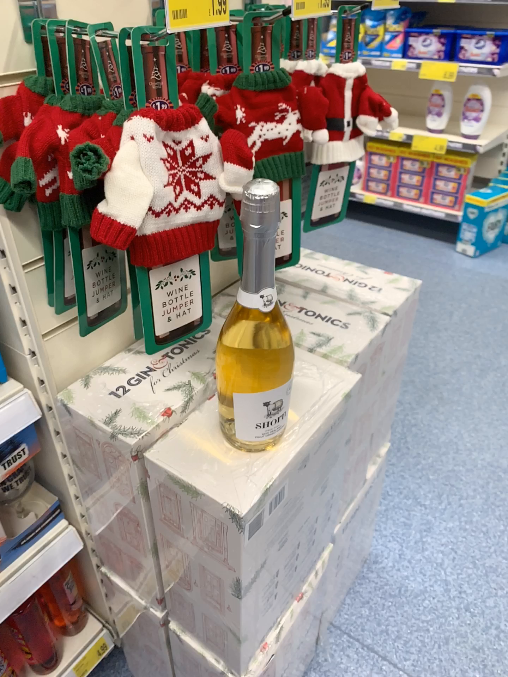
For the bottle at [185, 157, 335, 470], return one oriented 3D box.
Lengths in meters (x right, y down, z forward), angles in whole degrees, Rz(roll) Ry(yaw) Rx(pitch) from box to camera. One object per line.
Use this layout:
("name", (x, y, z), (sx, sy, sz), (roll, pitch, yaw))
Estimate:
("bottle", (0.006, -0.018, 0.543), (0.094, 0.299, 0.095), (-1, 34, 0))
